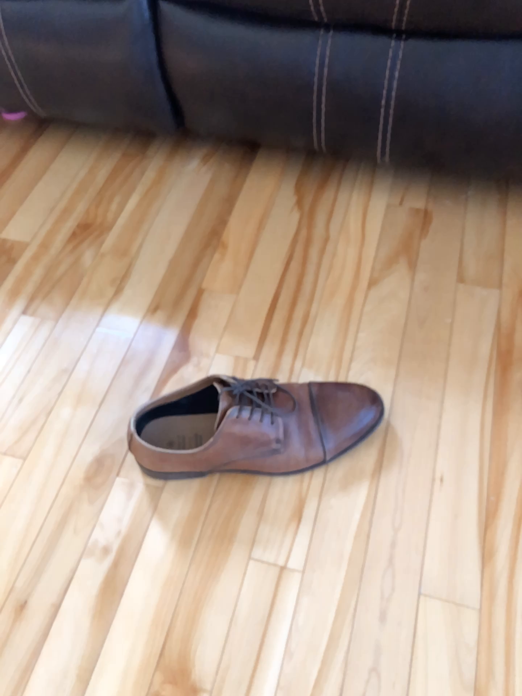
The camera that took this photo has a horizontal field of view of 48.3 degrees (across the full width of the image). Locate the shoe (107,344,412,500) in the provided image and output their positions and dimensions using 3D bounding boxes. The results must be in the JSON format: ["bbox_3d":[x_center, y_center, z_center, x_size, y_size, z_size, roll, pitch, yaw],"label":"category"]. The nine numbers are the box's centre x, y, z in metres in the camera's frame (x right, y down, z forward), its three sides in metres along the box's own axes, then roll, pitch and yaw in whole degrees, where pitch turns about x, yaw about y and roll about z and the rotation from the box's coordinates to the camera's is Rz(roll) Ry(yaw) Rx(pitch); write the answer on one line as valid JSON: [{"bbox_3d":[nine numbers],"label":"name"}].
[{"bbox_3d":[-0.003,0.085,0.656,0.310,0.100,0.100,-7,55,0],"label":"shoe"}]
